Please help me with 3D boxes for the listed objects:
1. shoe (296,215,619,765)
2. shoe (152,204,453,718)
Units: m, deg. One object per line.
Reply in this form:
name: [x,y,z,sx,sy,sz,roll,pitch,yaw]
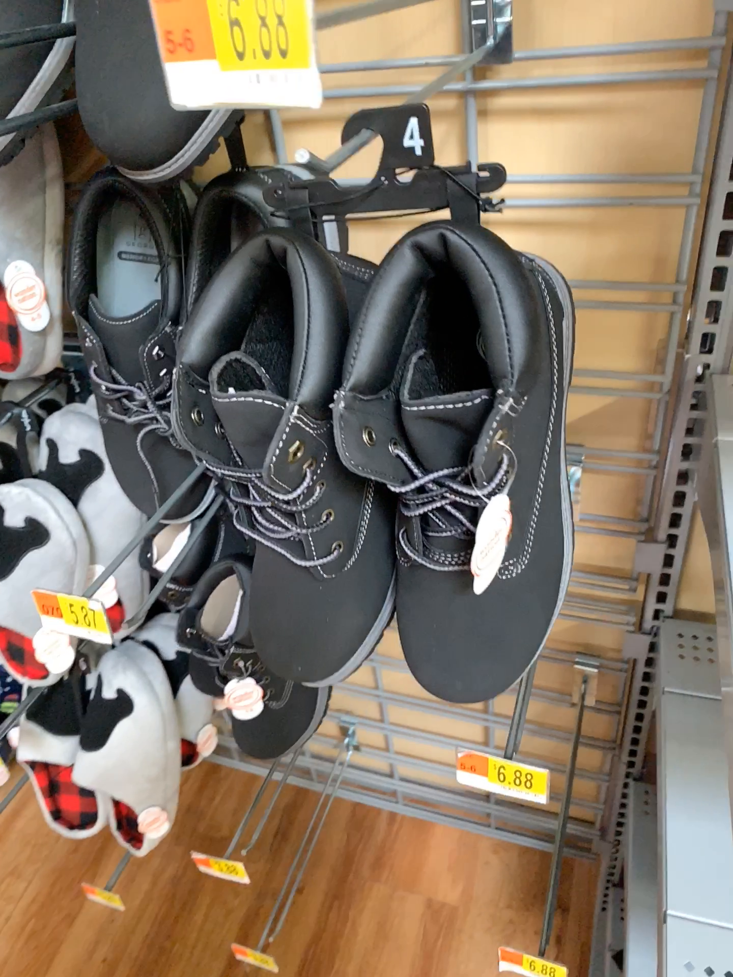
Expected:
shoe: [0.043,-0.011,0.339,0.100,0.205,0.120,9,23,20]
shoe: [-0.026,-0.021,0.390,0.100,0.229,0.110,10,24,19]
